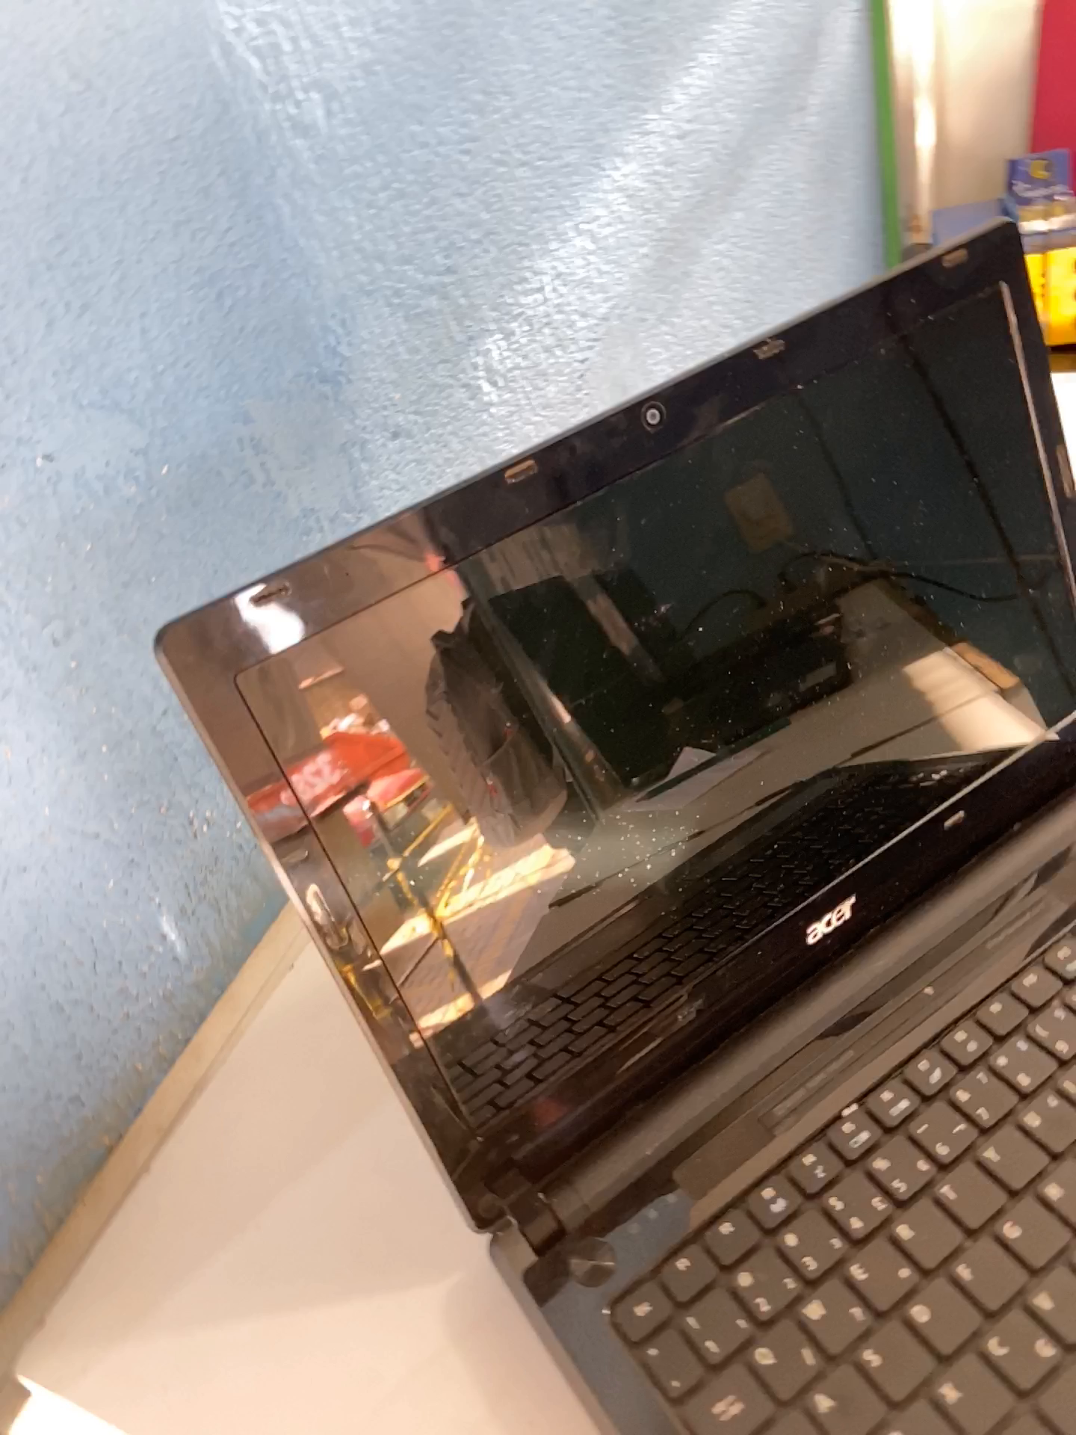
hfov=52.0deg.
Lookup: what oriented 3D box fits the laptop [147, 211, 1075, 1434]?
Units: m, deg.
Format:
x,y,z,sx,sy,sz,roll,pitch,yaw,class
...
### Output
x,y,z,sx,sy,sz,roll,pitch,yaw,class
0.139,0.044,0.296,0.337,0.207,0.319,-30,39,-18,laptop
